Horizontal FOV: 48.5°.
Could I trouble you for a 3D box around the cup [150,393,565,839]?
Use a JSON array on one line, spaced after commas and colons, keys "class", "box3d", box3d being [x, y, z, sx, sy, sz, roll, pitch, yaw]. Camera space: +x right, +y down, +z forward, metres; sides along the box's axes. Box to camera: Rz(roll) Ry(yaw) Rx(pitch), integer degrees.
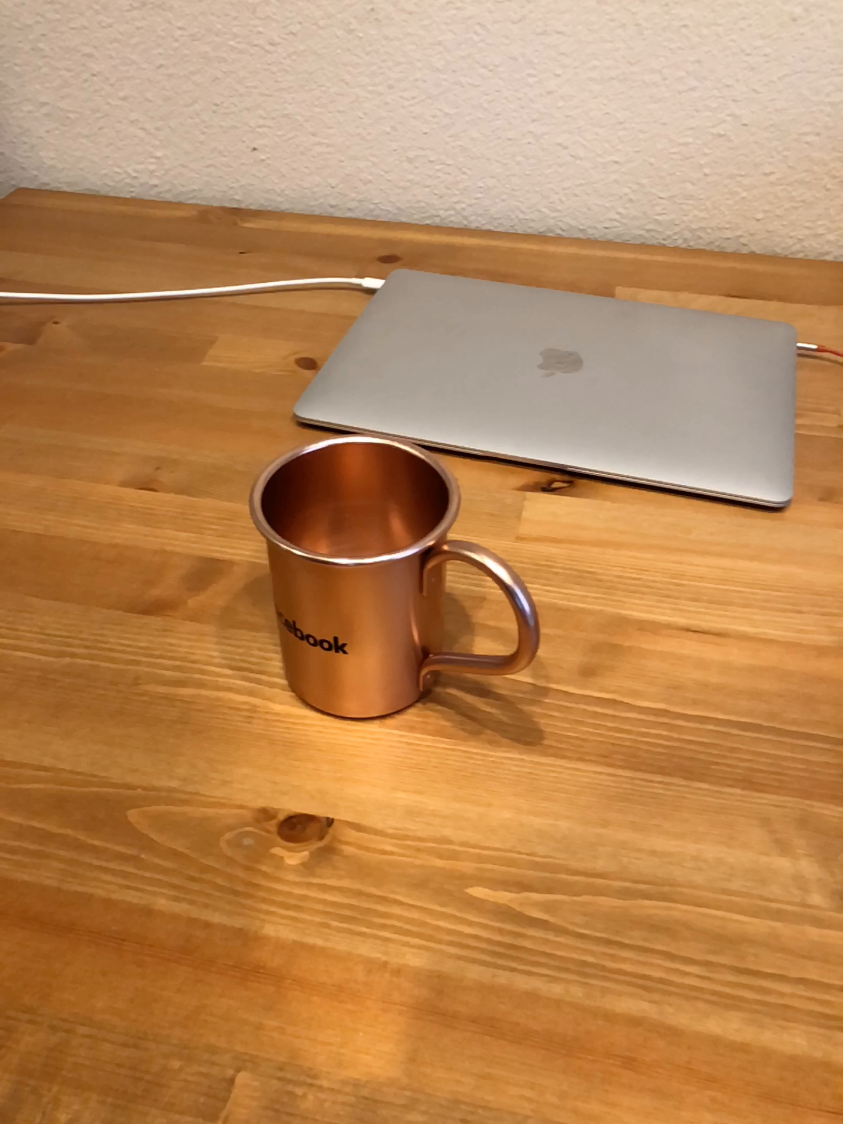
[{"class": "cup", "box3d": [-0.025, 0.016, 0.366, 0.130, 0.100, 0.080, 32, 50, 31]}]
